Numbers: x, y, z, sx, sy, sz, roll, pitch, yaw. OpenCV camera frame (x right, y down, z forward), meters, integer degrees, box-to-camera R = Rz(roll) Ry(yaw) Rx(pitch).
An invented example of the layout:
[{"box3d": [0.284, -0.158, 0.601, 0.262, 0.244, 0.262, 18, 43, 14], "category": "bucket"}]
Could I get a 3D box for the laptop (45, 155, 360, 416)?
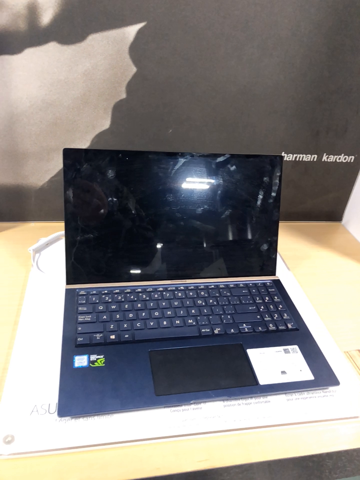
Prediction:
[{"box3d": [0.018, 0.027, 0.522, 0.331, 0.173, 0.293, -1, 34, -11], "category": "laptop"}]
